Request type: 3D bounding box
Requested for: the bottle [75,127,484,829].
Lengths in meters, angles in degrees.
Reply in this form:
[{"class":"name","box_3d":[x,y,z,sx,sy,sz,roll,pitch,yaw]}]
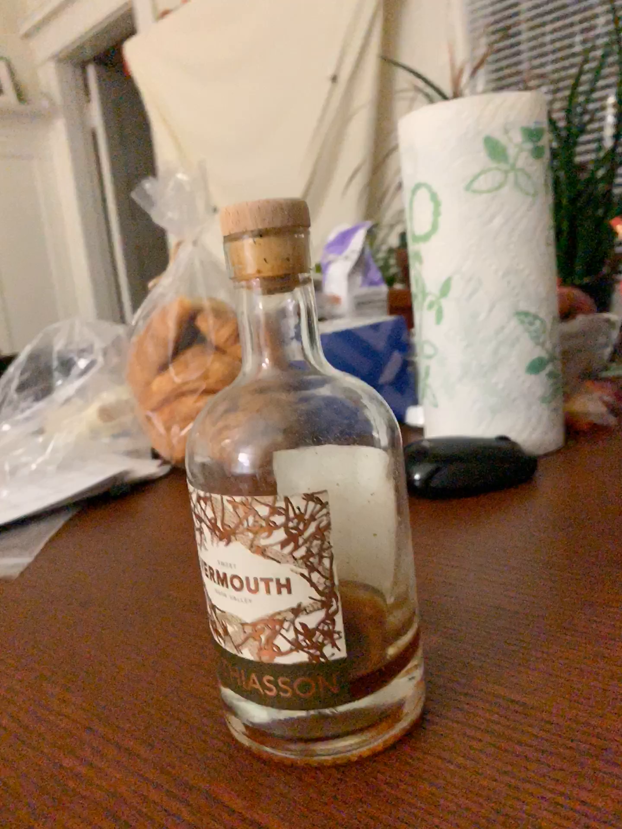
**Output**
[{"class":"bottle","box_3d":[-0.005,0.016,0.225,0.090,0.189,0.080,2,13,38]}]
